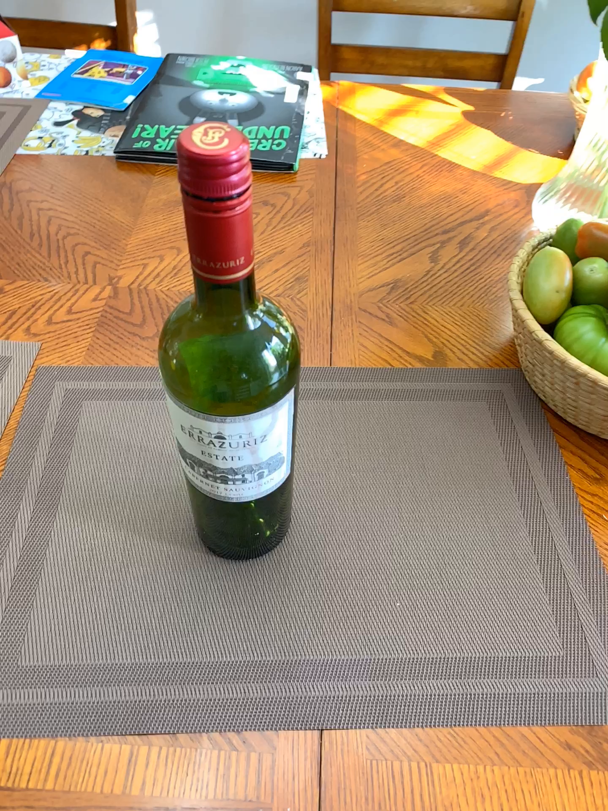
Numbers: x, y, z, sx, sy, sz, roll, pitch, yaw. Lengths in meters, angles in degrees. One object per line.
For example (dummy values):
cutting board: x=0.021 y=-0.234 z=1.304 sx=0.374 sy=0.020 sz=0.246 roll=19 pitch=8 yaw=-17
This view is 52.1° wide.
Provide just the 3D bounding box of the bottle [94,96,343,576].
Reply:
bottle: x=-0.036 y=-0.007 z=0.373 sx=0.090 sy=0.307 sz=0.081 roll=5 pitch=49 yaw=1
